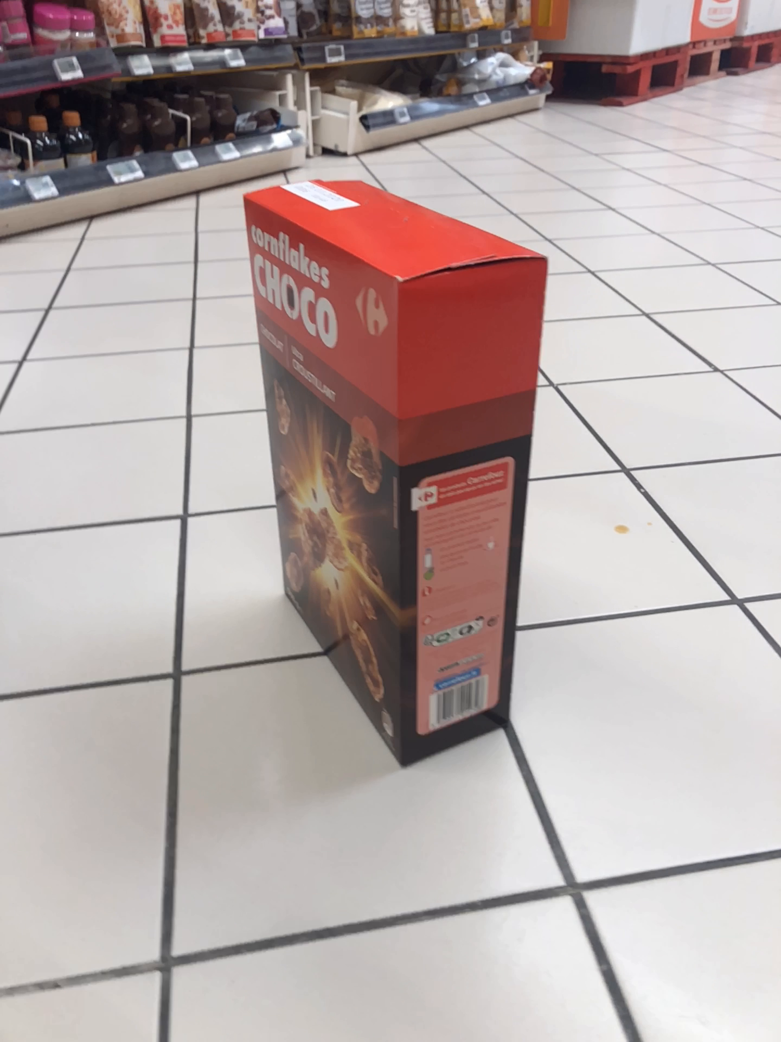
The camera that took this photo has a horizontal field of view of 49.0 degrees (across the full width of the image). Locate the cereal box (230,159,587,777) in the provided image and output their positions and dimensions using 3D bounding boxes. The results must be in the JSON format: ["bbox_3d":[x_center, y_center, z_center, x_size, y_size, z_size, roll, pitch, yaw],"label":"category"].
[{"bbox_3d":[-0.002,-0.038,0.488,0.090,0.278,0.201,-15,34,-22],"label":"cereal box"}]
